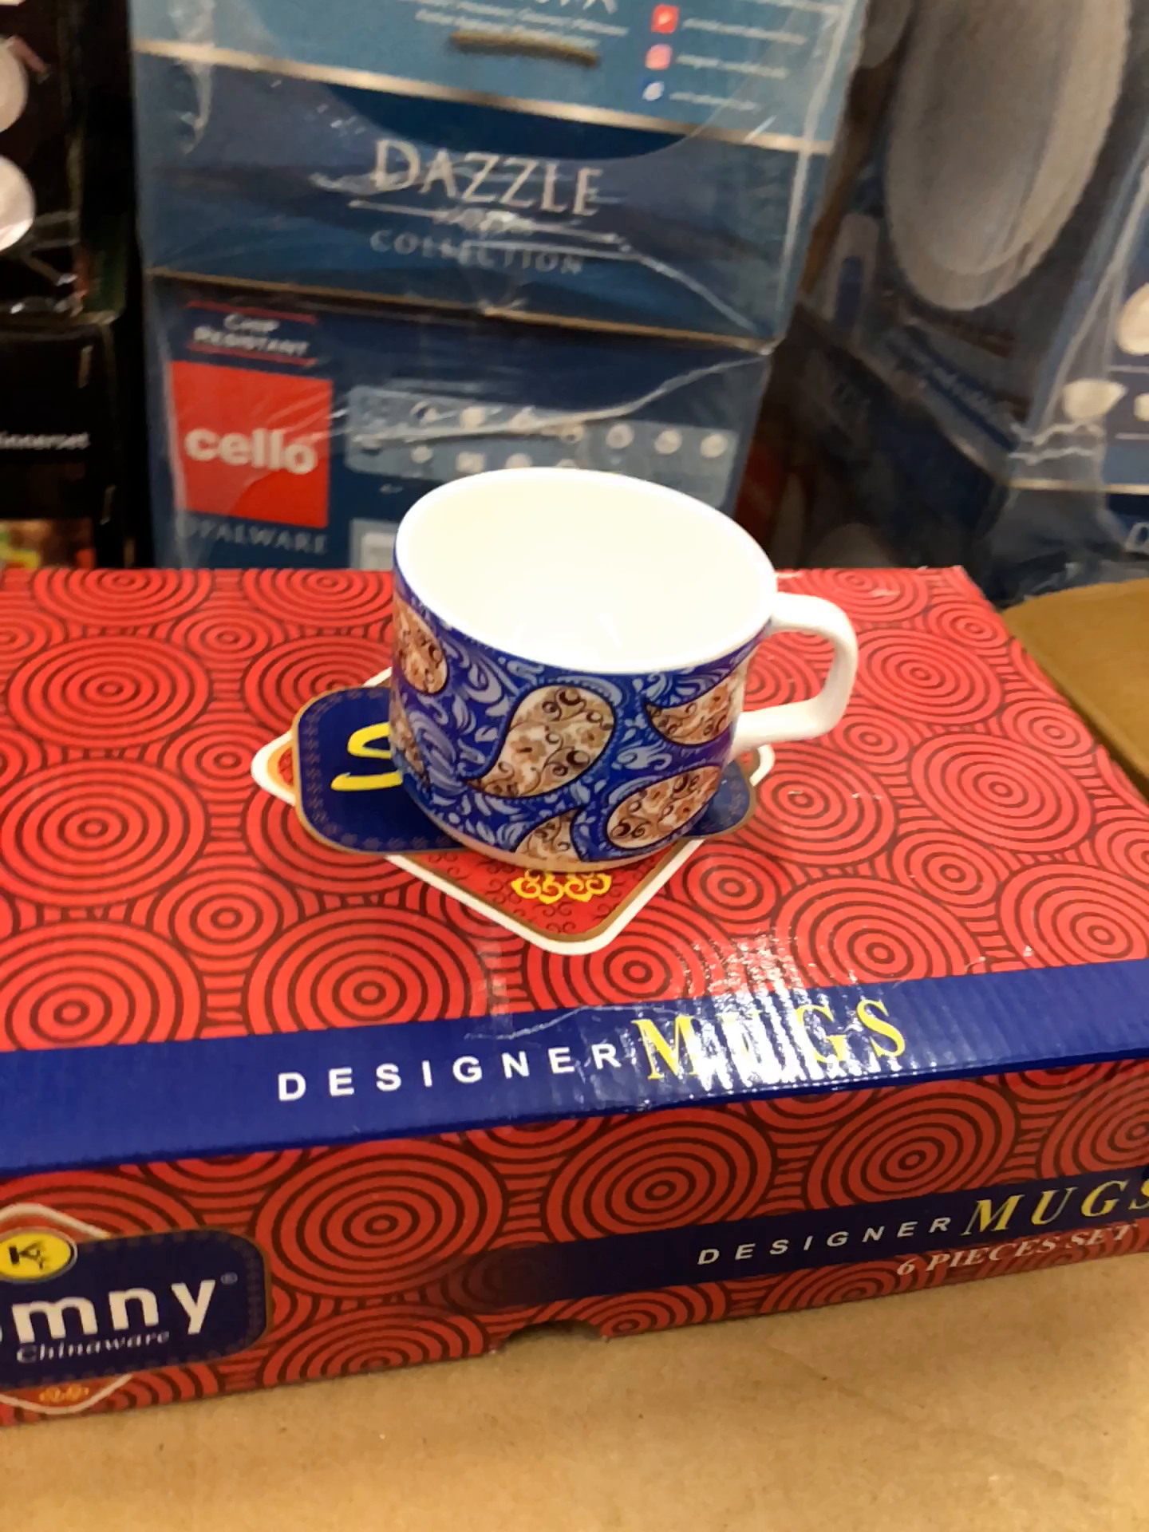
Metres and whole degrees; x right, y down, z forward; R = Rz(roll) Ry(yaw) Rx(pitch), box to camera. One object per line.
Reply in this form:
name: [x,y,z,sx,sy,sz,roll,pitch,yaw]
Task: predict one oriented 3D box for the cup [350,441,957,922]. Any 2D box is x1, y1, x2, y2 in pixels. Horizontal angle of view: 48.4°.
cup: [0.009,-0.018,0.256,0.100,0.060,0.070,4,36,-8]
